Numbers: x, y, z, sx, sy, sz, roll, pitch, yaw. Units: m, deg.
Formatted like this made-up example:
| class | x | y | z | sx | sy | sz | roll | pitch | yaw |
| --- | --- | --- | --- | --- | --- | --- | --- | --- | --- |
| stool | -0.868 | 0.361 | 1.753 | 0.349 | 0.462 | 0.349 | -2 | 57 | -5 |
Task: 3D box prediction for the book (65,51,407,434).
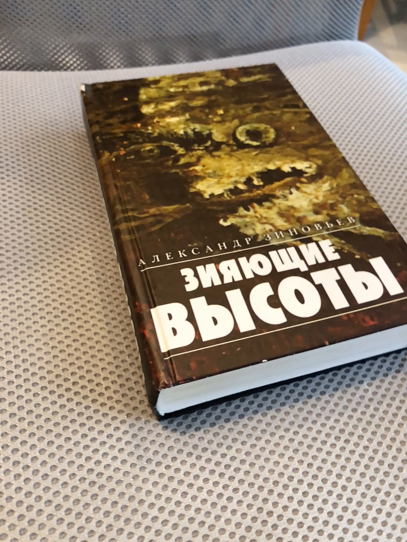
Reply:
| class | x | y | z | sx | sy | sz | roll | pitch | yaw |
| --- | --- | --- | --- | --- | --- | --- | --- | --- | --- |
| book | 0.016 | -0.034 | 0.239 | 0.140 | 0.040 | 0.191 | -11 | 61 | -13 |
